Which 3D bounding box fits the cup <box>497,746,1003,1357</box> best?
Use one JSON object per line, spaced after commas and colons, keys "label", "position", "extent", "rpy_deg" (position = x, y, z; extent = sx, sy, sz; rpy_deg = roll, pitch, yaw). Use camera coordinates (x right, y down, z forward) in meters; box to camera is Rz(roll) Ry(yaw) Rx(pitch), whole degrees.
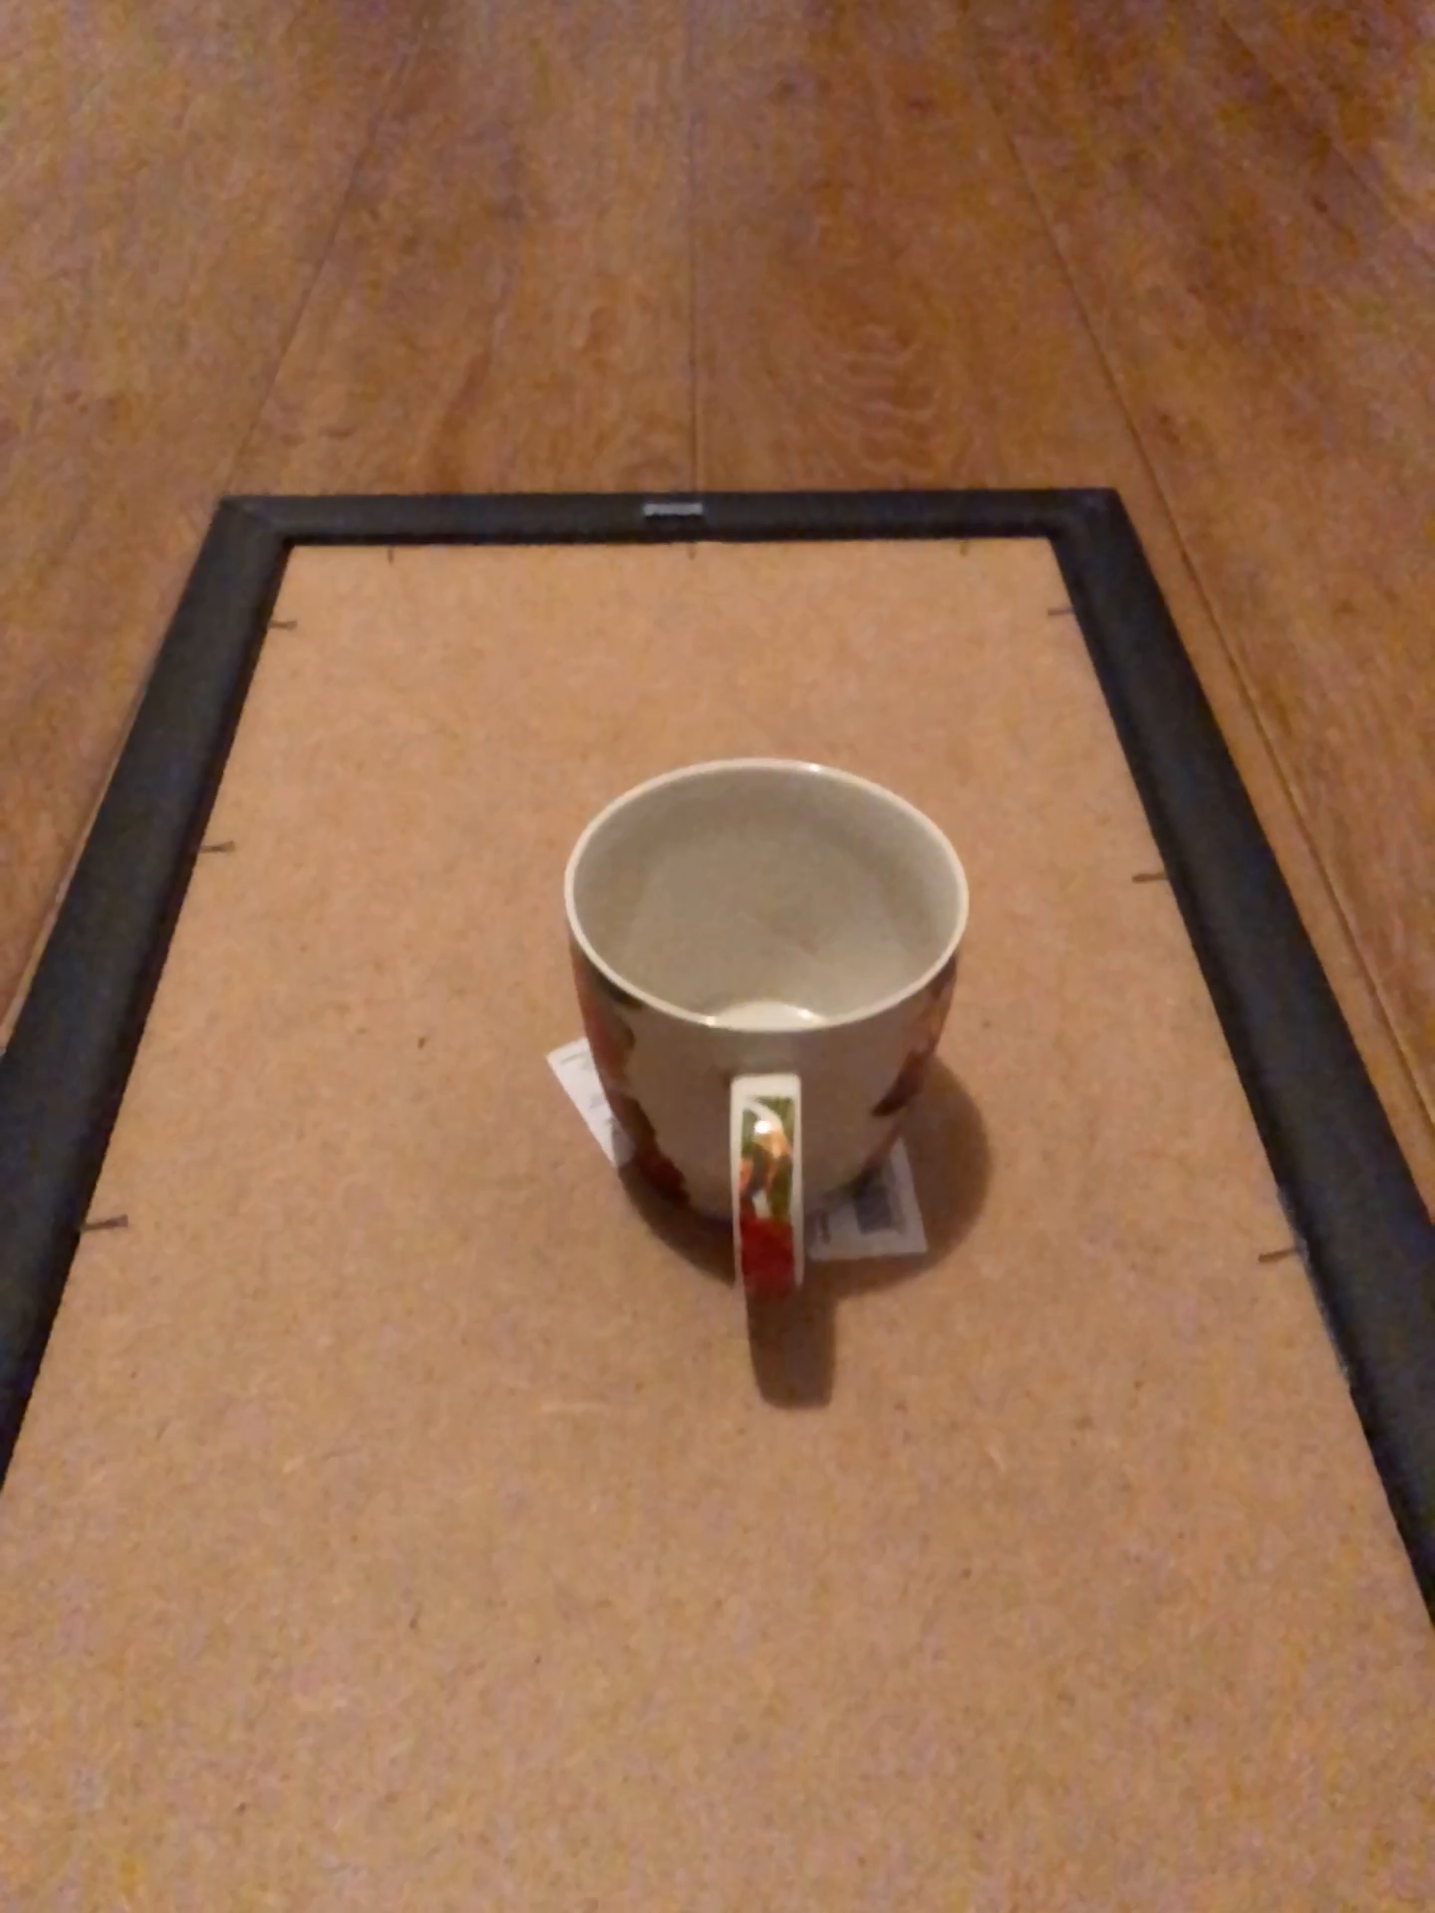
{"label": "cup", "position": [0.004, 0.019, 0.377], "extent": [0.098, 0.079, 0.122], "rpy_deg": [-1, 44, -1]}
